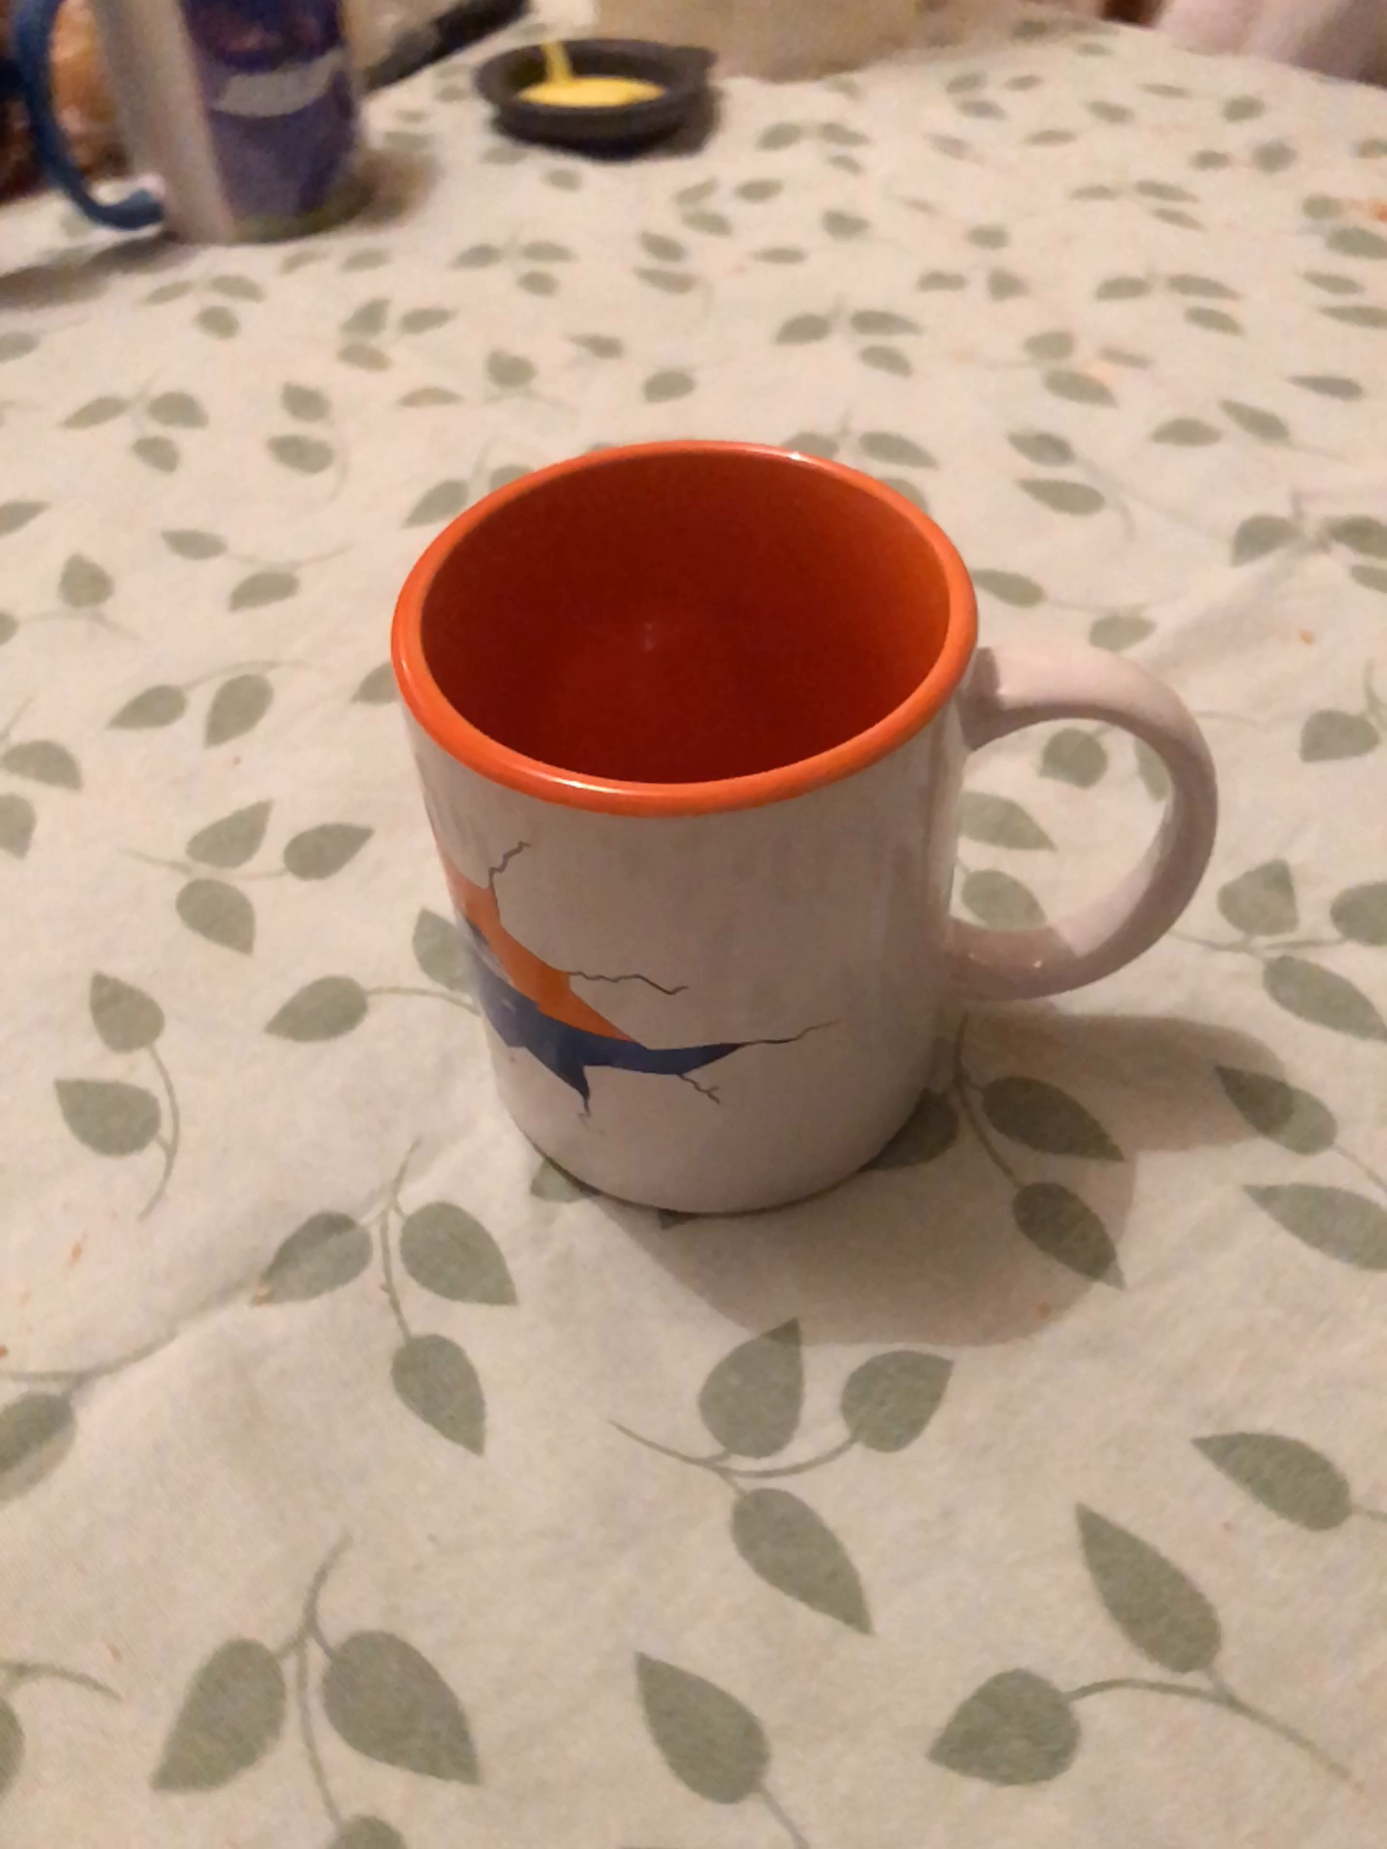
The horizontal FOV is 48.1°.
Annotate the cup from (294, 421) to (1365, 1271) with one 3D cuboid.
[{"bbox_3d":[0.019,-0.011,0.238,0.120,0.099,0.081,2,47,5],"label":"cup"}]
